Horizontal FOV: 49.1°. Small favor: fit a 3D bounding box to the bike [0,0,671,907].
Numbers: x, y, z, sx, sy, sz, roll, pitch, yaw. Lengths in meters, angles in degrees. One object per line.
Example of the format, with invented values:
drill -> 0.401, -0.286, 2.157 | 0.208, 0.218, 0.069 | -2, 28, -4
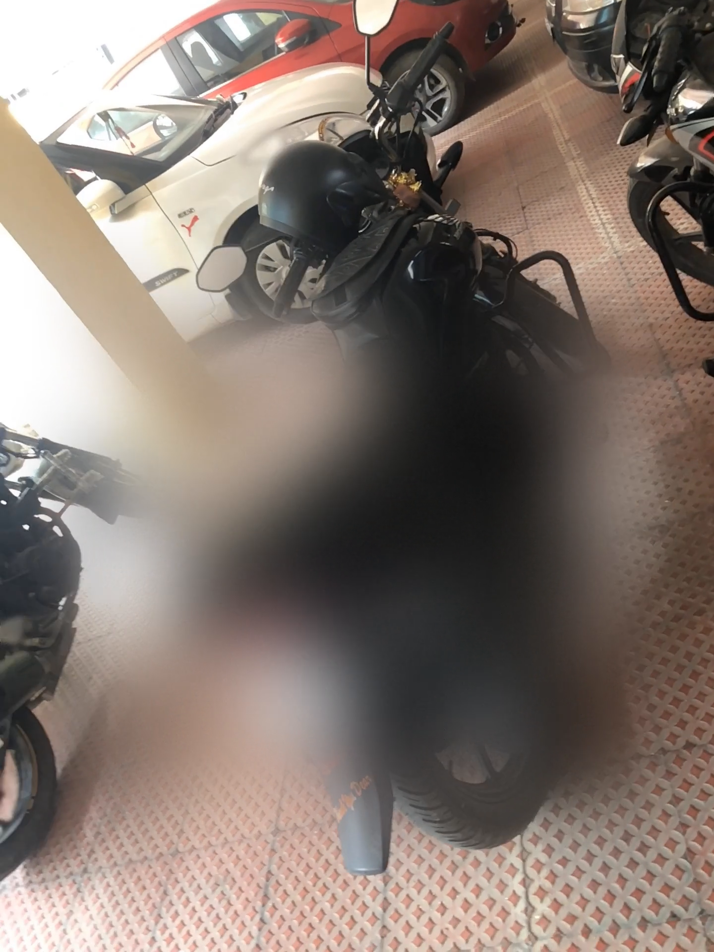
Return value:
bike -> 0.013, -0.170, 1.856 | 0.804, 1.200, 1.690 | -18, 36, 26
